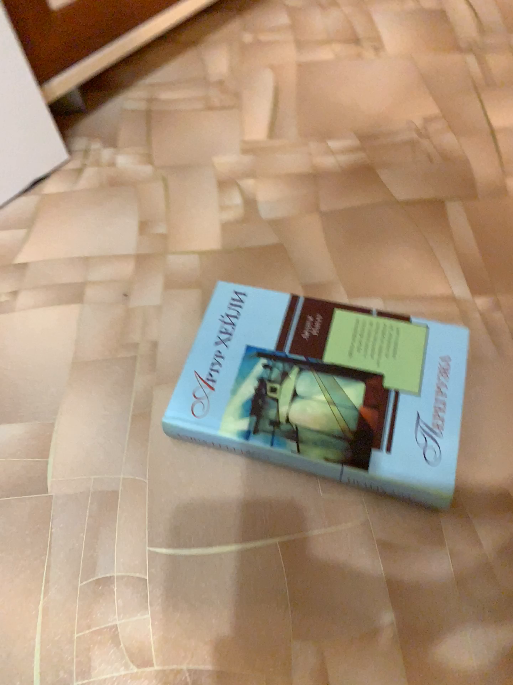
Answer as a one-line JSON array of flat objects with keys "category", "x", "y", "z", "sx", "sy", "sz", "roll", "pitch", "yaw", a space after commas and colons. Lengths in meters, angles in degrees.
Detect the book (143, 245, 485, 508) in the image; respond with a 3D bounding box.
[{"category": "book", "x": 0.047, "y": 0.014, "z": 0.382, "sx": 0.210, "sy": 0.040, "sz": 0.151, "roll": 11, "pitch": 60, "yaw": 11}]
